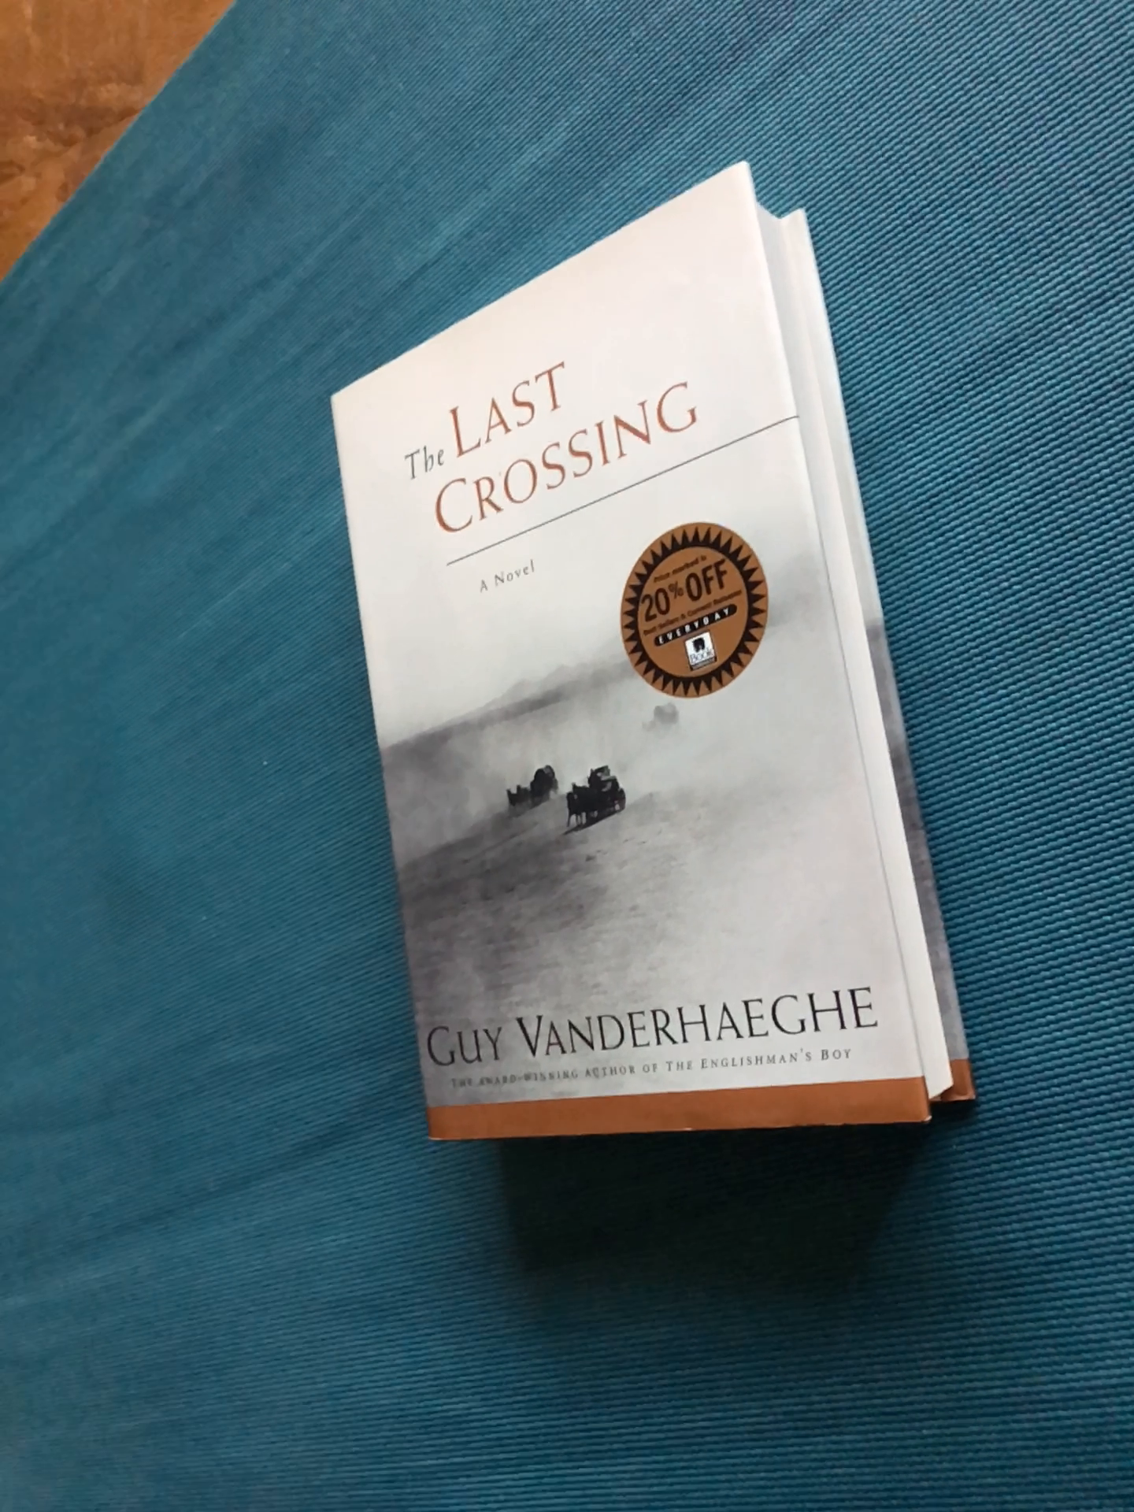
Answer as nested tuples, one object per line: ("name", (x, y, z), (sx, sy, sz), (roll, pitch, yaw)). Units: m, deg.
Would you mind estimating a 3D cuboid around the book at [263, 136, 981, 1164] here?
("book", (-0.001, -0.014, 0.339), (0.171, 0.040, 0.230), (-15, 78, 36))
